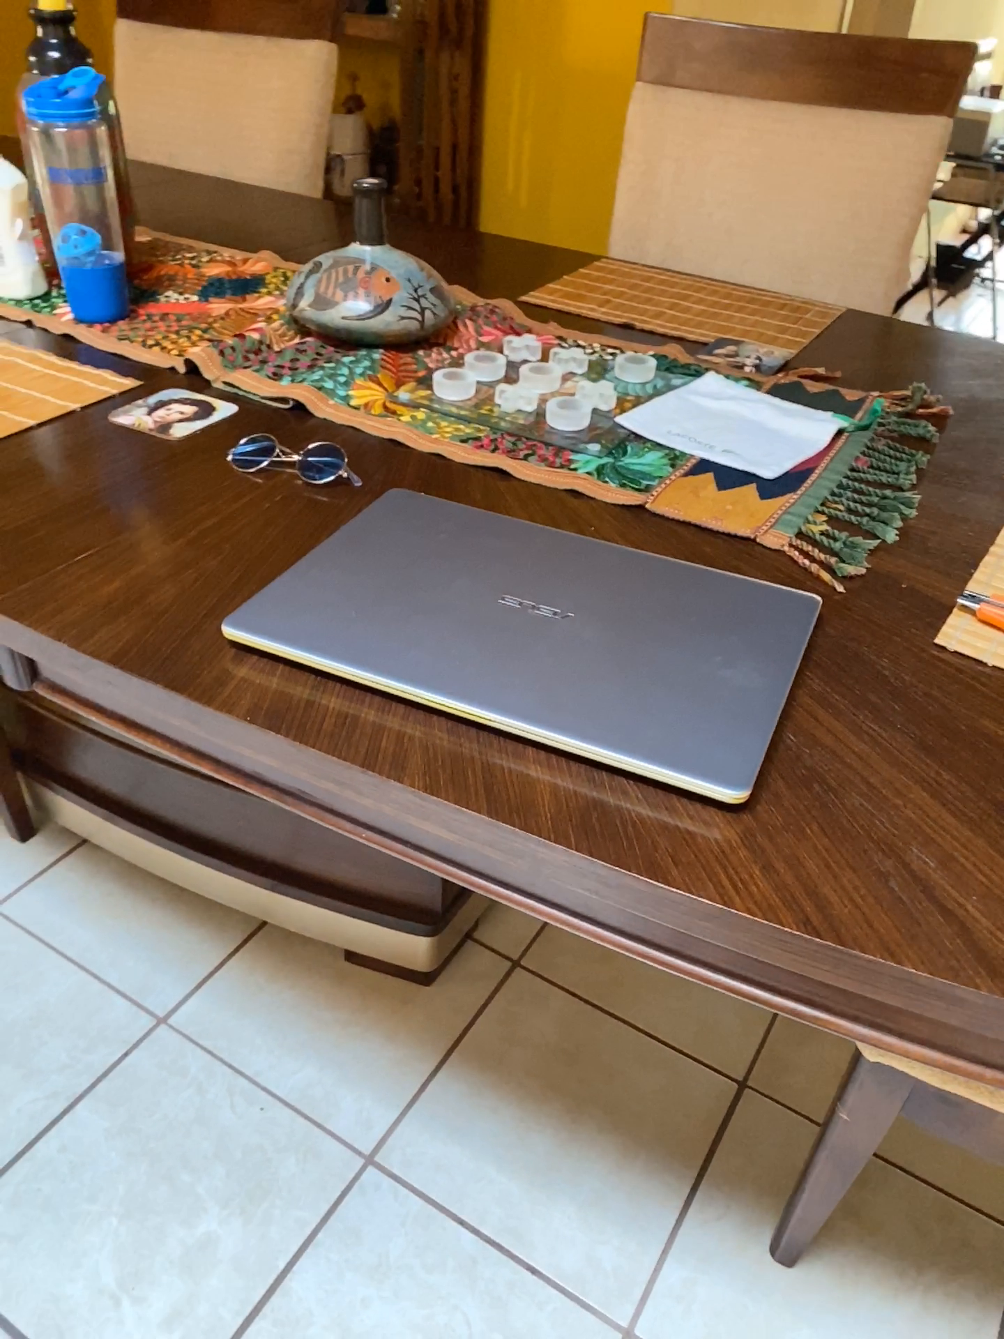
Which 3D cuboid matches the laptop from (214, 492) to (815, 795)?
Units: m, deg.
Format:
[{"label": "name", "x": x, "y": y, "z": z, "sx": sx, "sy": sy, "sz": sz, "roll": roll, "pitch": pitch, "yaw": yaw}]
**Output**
[{"label": "laptop", "x": 0.020, "y": -0.042, "z": 0.772, "sx": 0.383, "sy": 0.001, "sz": 0.247, "roll": 17, "pitch": 38, "yaw": 17}]
